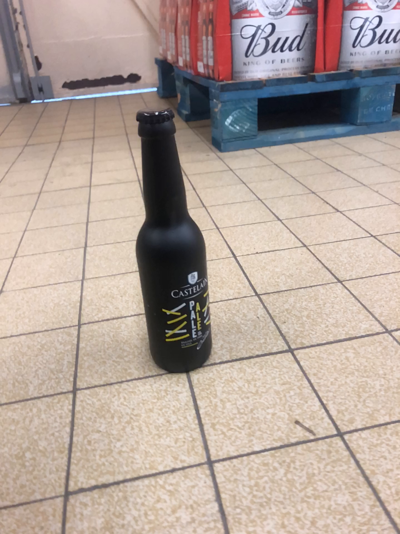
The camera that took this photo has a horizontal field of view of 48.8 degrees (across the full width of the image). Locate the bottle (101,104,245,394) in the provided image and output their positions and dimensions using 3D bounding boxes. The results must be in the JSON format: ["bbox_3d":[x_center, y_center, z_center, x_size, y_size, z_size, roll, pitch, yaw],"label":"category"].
[{"bbox_3d":[-0.014,-0.013,0.366,0.070,0.219,0.070,-4,27,2],"label":"bottle"}]
